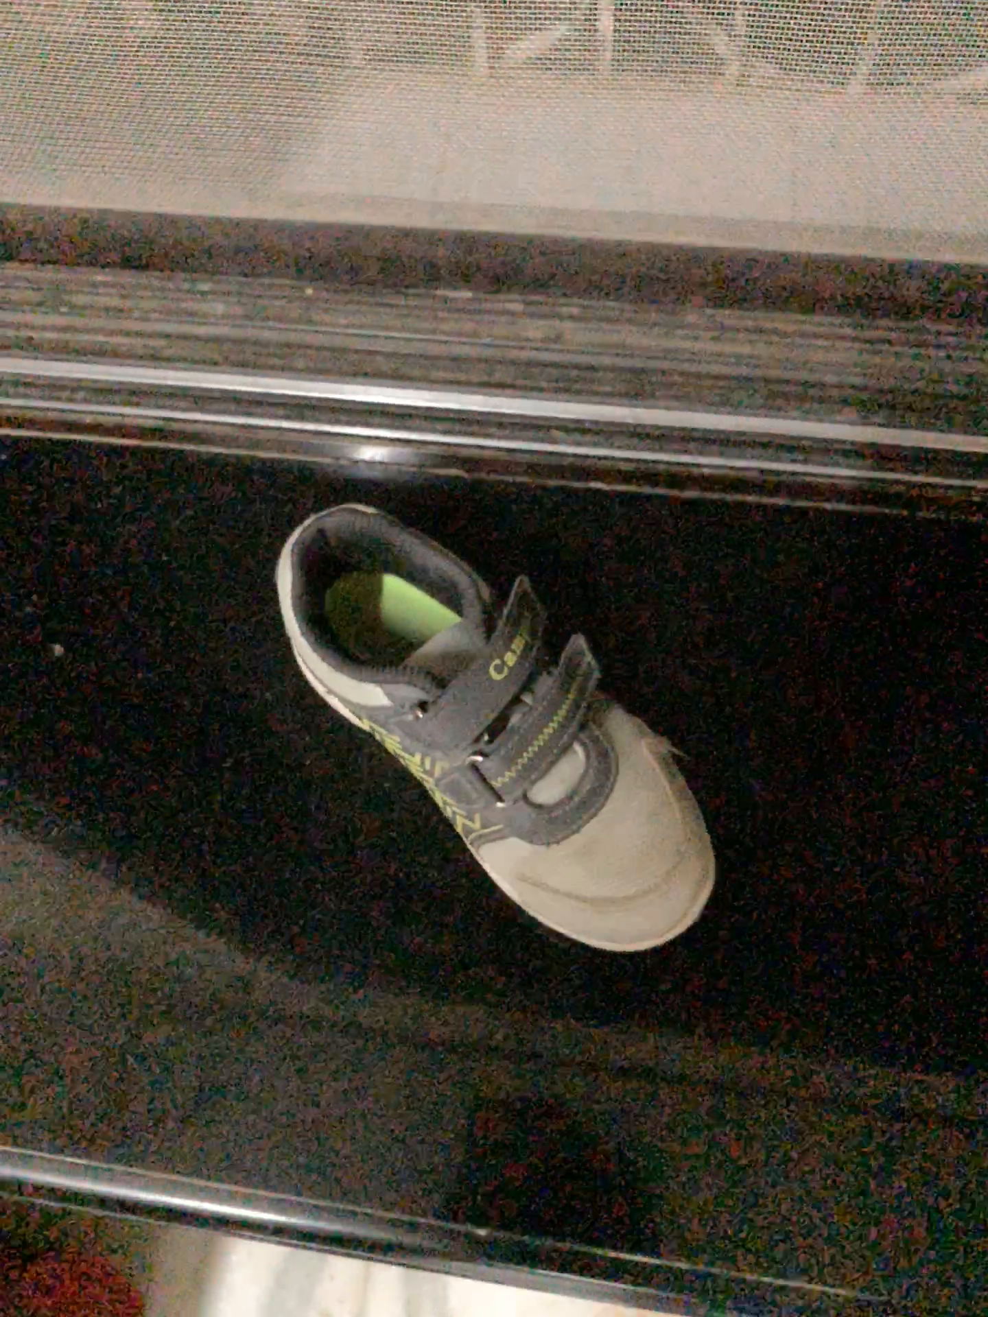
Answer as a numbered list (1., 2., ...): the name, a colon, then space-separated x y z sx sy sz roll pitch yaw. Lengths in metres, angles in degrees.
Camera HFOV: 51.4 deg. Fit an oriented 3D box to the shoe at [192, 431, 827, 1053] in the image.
1. shoe: -0.001 0.028 0.399 0.090 0.080 0.231 -42 70 -14
